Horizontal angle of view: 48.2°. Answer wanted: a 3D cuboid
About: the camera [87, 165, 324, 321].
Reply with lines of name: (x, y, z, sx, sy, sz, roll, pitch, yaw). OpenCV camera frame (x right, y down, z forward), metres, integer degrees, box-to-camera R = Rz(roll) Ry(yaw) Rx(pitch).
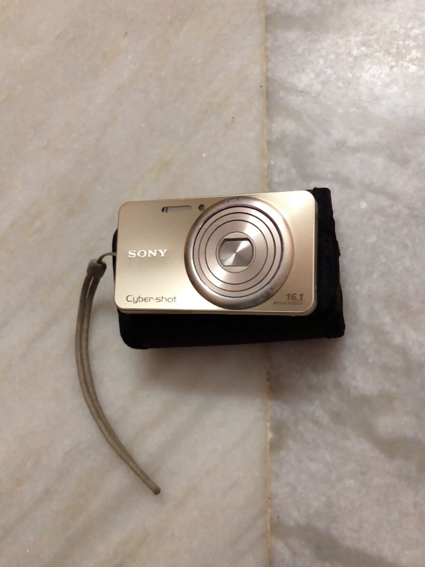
camera: (-0.003, -0.015, 0.207, 0.100, 0.020, 0.060, -1, 81, 17)
